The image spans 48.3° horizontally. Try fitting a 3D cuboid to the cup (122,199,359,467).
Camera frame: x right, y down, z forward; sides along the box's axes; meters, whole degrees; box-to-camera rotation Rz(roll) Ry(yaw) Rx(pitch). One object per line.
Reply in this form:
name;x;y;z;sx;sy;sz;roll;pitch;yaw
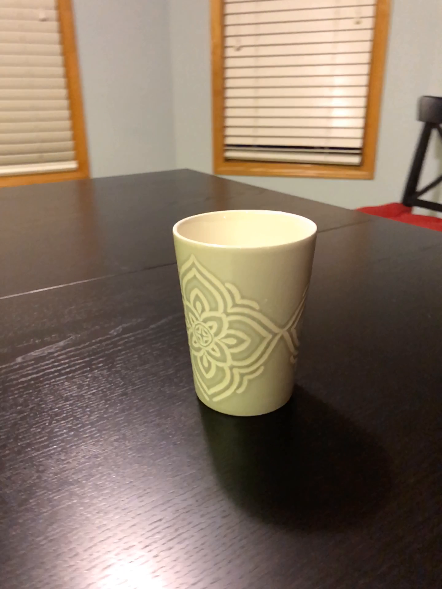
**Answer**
cup;0.007;0.013;0.349;0.100;0.129;0.130;-14;25;-30
